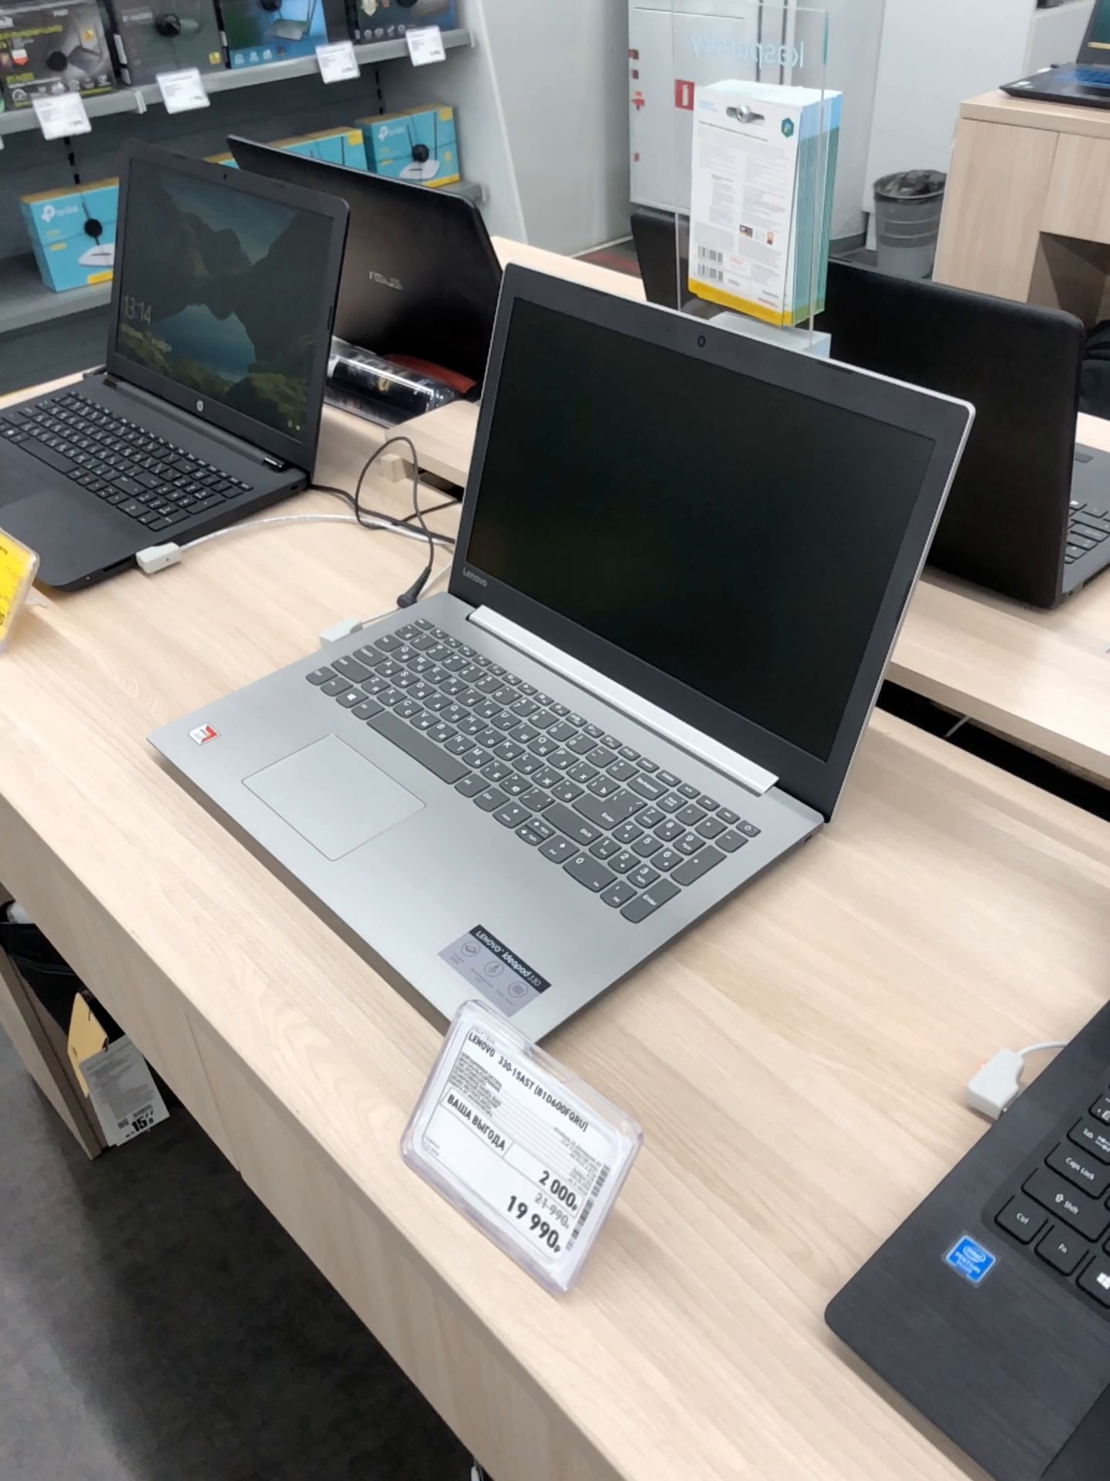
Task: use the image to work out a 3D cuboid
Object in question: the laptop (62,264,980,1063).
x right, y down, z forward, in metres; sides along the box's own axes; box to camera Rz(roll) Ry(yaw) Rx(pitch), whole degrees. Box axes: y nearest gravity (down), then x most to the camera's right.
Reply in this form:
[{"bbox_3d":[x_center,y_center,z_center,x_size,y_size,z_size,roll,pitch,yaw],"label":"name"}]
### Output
[{"bbox_3d":[-0.025,-0.090,0.744,0.344,0.235,0.381,-30,45,-30],"label":"laptop"}]
